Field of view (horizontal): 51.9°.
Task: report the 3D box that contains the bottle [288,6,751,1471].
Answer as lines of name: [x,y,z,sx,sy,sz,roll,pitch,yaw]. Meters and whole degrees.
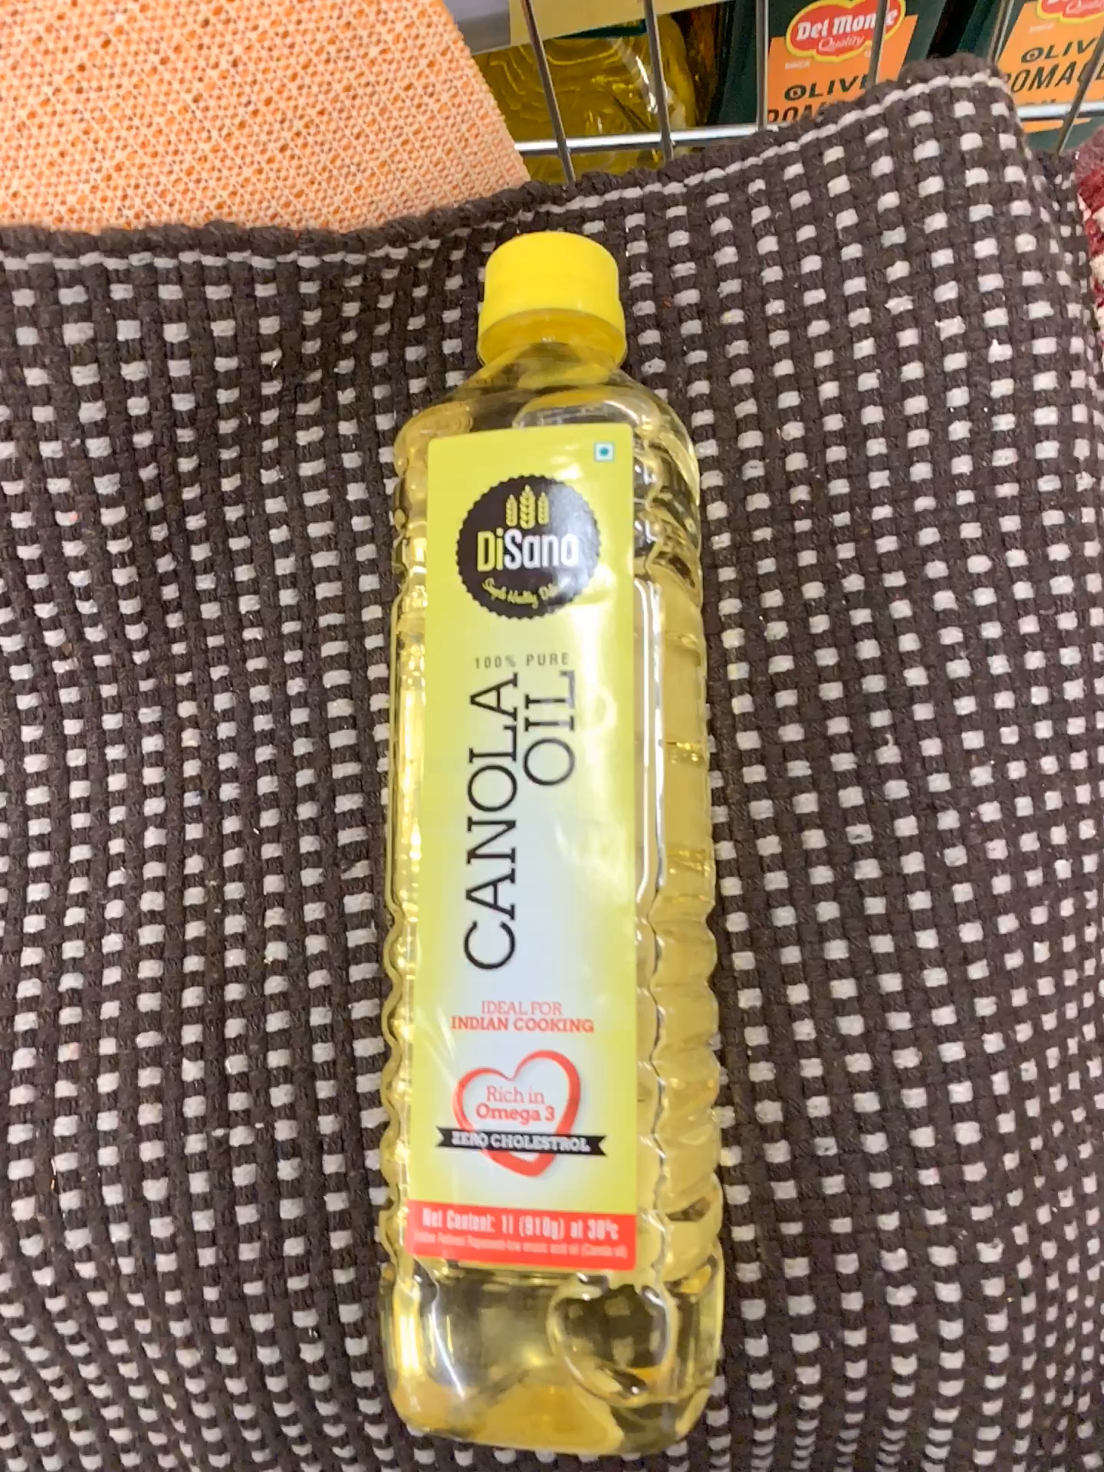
bottle: [0.001,-0.007,0.225,0.070,0.060,0.250,-1,79,13]
